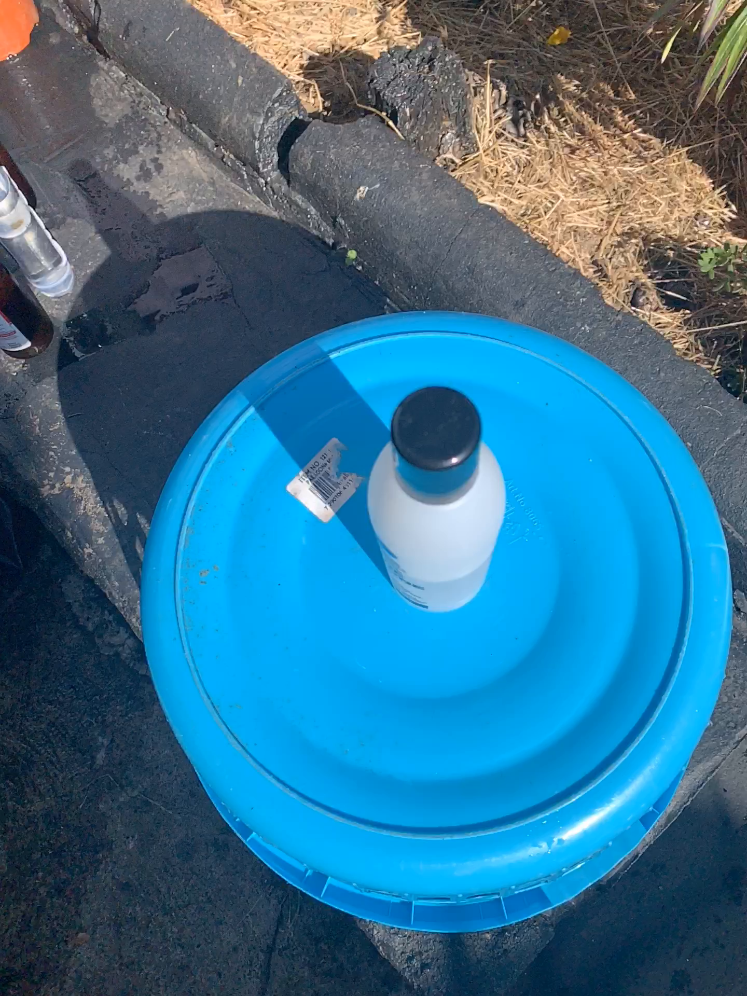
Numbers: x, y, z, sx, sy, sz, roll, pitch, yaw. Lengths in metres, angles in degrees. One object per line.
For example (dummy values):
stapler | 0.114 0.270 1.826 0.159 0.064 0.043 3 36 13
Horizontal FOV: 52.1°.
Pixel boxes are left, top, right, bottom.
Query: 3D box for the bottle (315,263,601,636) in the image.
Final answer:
bottle | 0.029 -0.003 0.311 0.060 0.179 0.060 -1 69 3
